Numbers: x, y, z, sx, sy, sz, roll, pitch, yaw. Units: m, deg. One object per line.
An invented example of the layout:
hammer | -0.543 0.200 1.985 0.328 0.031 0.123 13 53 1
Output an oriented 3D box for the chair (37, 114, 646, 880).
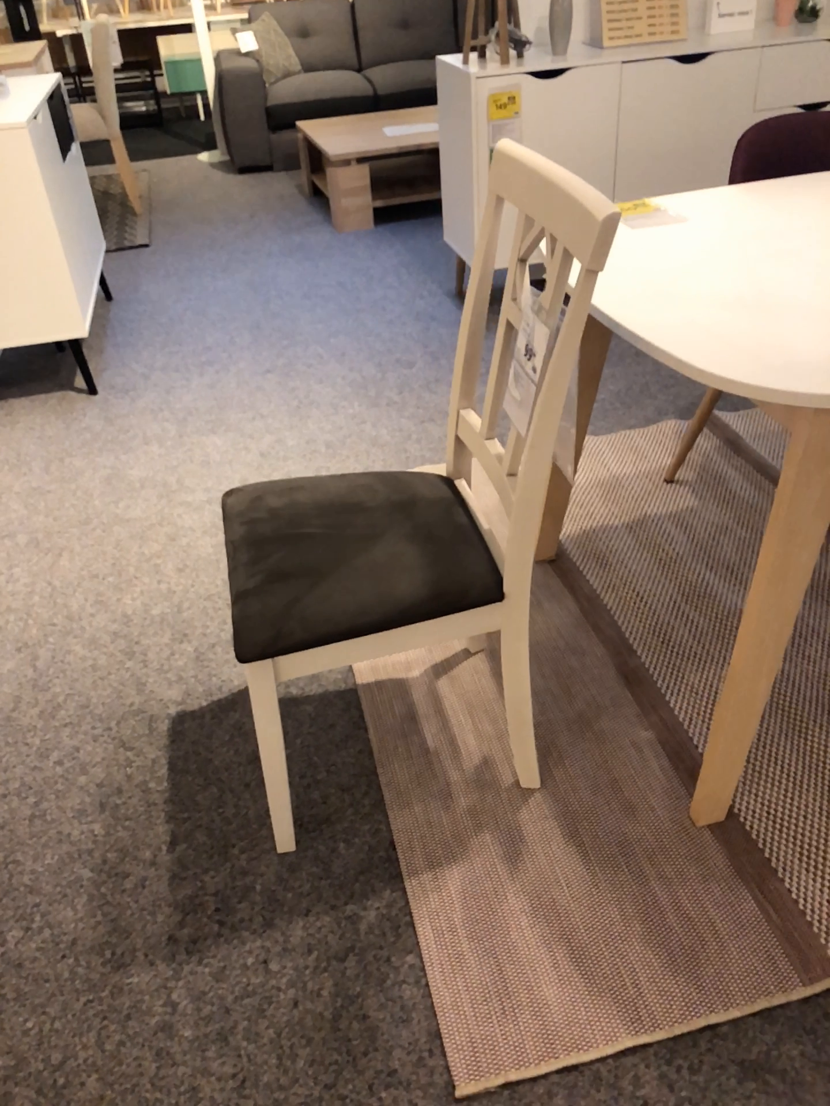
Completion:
chair | -0.077 -0.081 1.279 0.560 0.855 0.513 -10 35 -7
